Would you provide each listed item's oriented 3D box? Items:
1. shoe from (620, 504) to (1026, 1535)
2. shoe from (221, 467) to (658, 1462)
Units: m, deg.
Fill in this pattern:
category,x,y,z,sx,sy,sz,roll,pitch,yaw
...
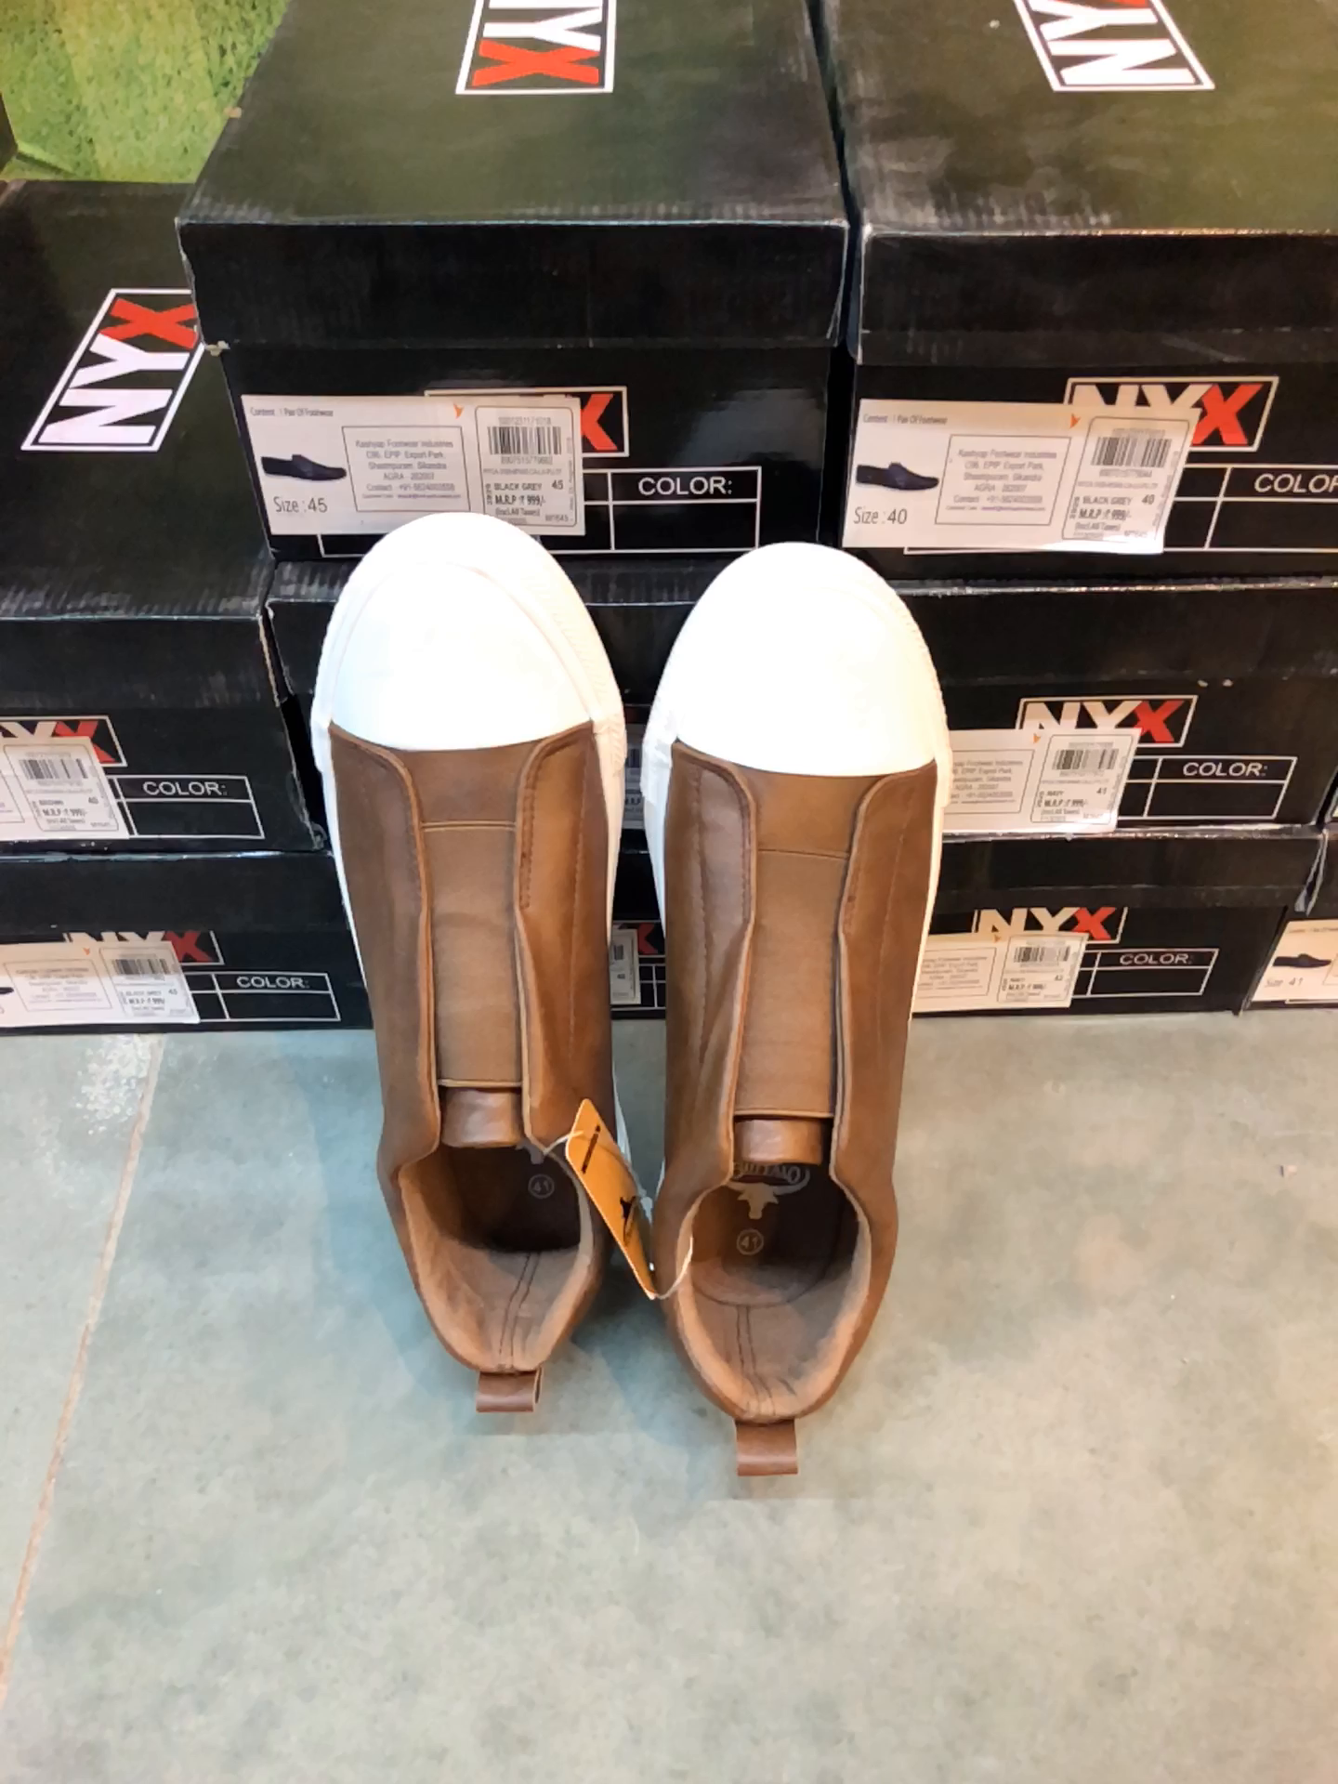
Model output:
category,x,y,z,sx,sy,sz,roll,pitch,yaw
shoe,0.037,0.031,0.427,0.096,0.272,0.101,1,11,1
shoe,-0.058,0.017,0.441,0.098,0.269,0.103,-2,12,-1
